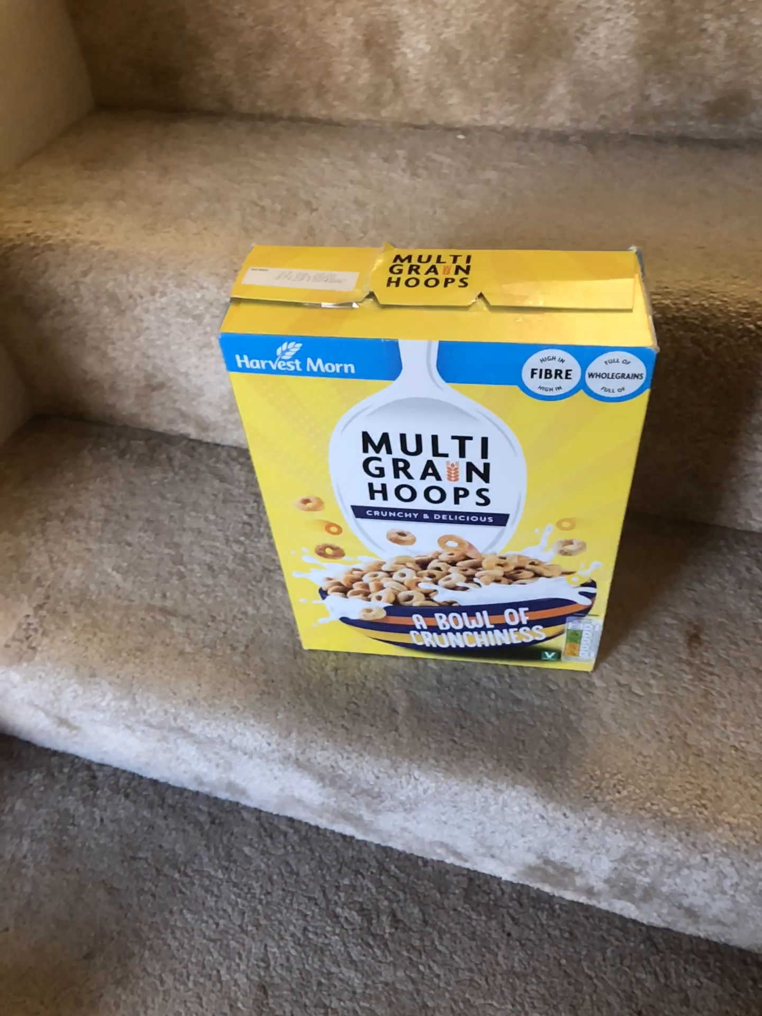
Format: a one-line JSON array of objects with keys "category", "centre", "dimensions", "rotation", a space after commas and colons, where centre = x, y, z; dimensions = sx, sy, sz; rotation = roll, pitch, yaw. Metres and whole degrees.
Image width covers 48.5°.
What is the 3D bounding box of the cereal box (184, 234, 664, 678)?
[{"category": "cereal box", "centre": [0.031, -0.016, 0.472], "dimensions": [0.200, 0.248, 0.091], "rotation": [3, 49, 9]}]
